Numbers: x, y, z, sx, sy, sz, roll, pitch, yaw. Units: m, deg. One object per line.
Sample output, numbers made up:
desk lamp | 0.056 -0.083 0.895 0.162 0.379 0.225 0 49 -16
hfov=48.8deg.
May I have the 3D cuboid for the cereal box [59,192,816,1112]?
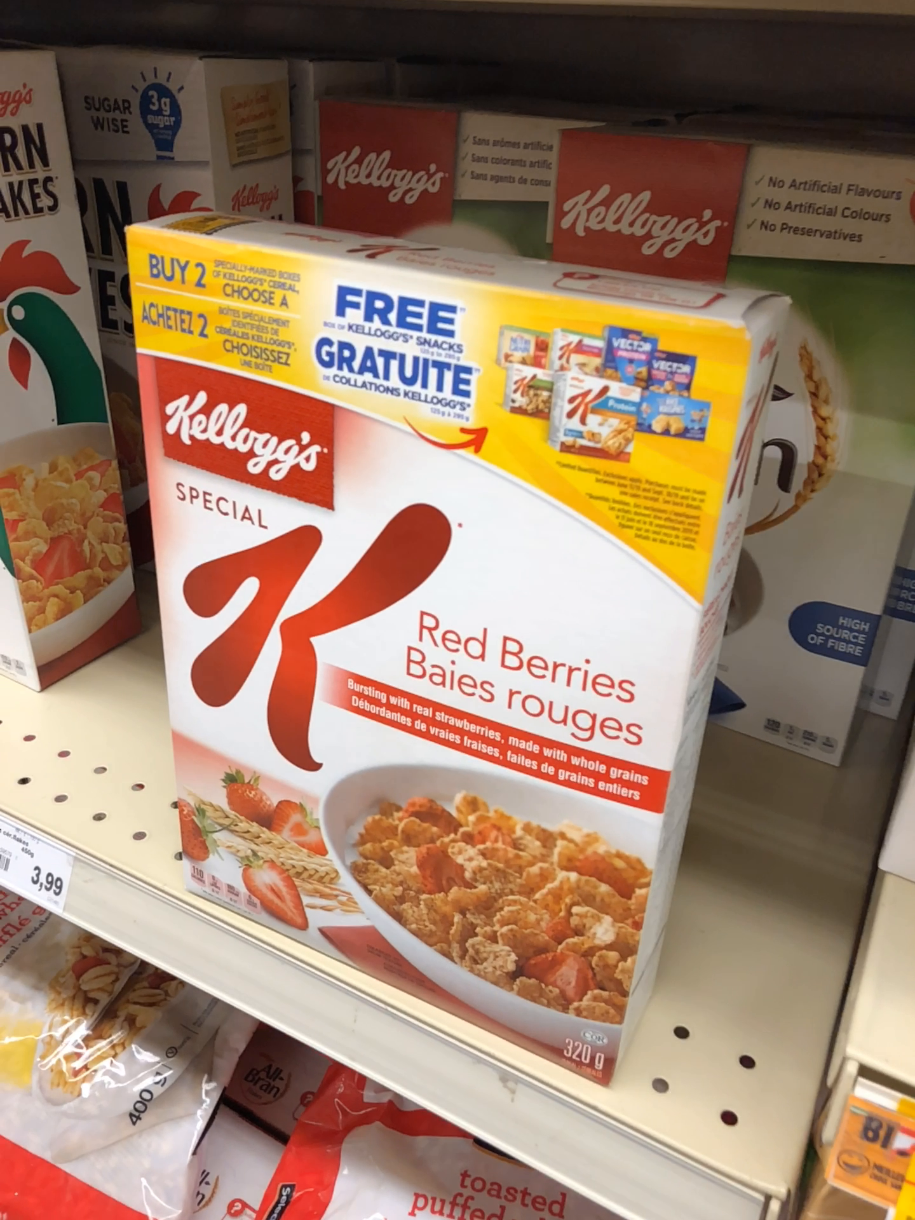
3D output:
cereal box | -0.016 0.015 0.315 0.190 0.248 0.050 17 33 23
